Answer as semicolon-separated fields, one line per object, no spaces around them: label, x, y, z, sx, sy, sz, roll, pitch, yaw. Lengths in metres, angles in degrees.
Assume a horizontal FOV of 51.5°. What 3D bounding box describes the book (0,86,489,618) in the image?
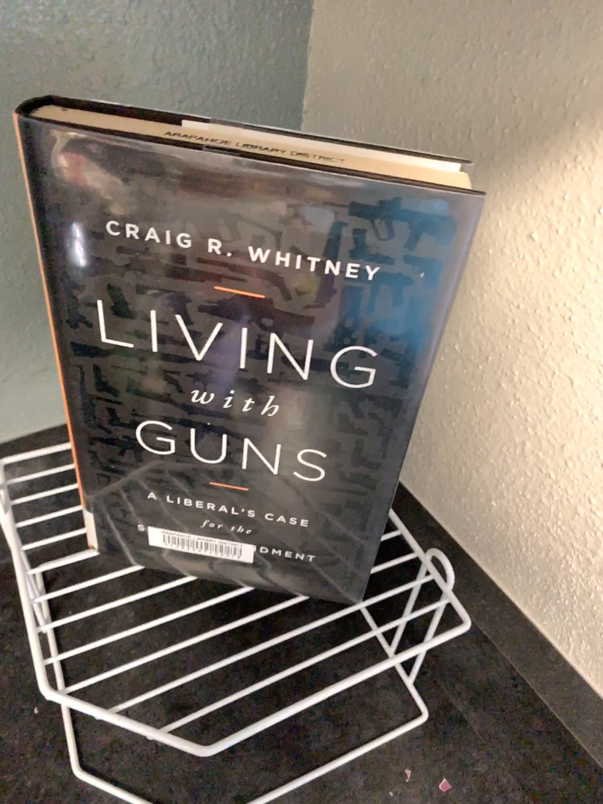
book;-0.032;-0.005;0.286;0.171;0.229;0.040;9;35;5
